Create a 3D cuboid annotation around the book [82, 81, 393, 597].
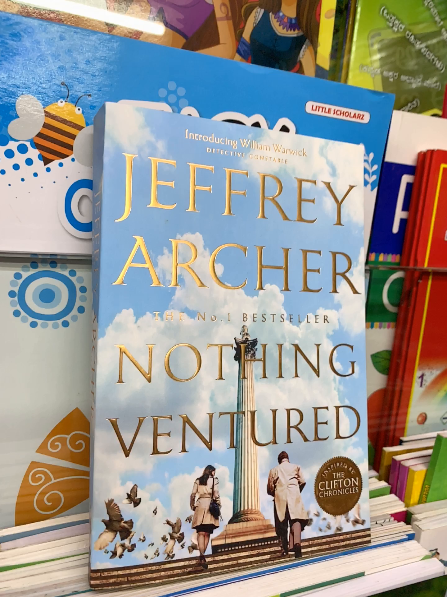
[{"bbox_3d":[0.009,0.015,0.206,0.130,0.190,0.030,1,-4,-19],"label":"book"}]
